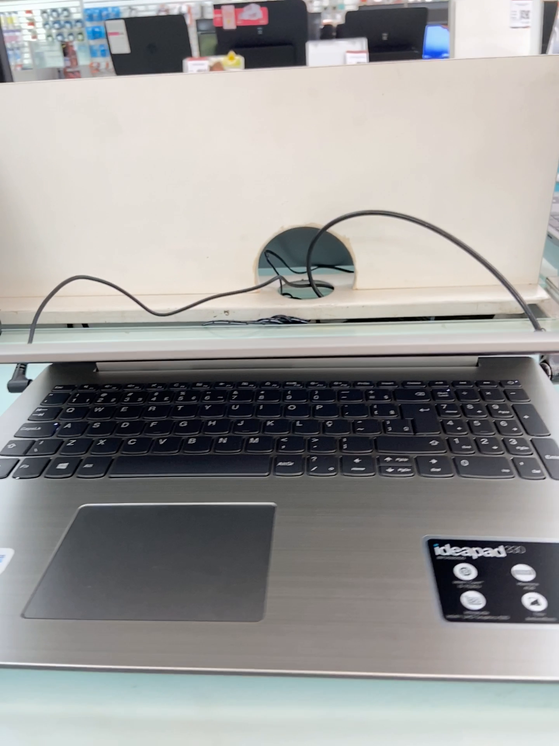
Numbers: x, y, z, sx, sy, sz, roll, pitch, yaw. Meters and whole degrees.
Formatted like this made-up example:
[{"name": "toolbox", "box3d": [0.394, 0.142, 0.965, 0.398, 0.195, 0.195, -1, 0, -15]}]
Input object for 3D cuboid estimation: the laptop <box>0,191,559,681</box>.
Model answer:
[{"name": "laptop", "box3d": [-0.012, 0.001, 0.301, 0.369, 0.114, 0.247, -1, 29, 6]}]
